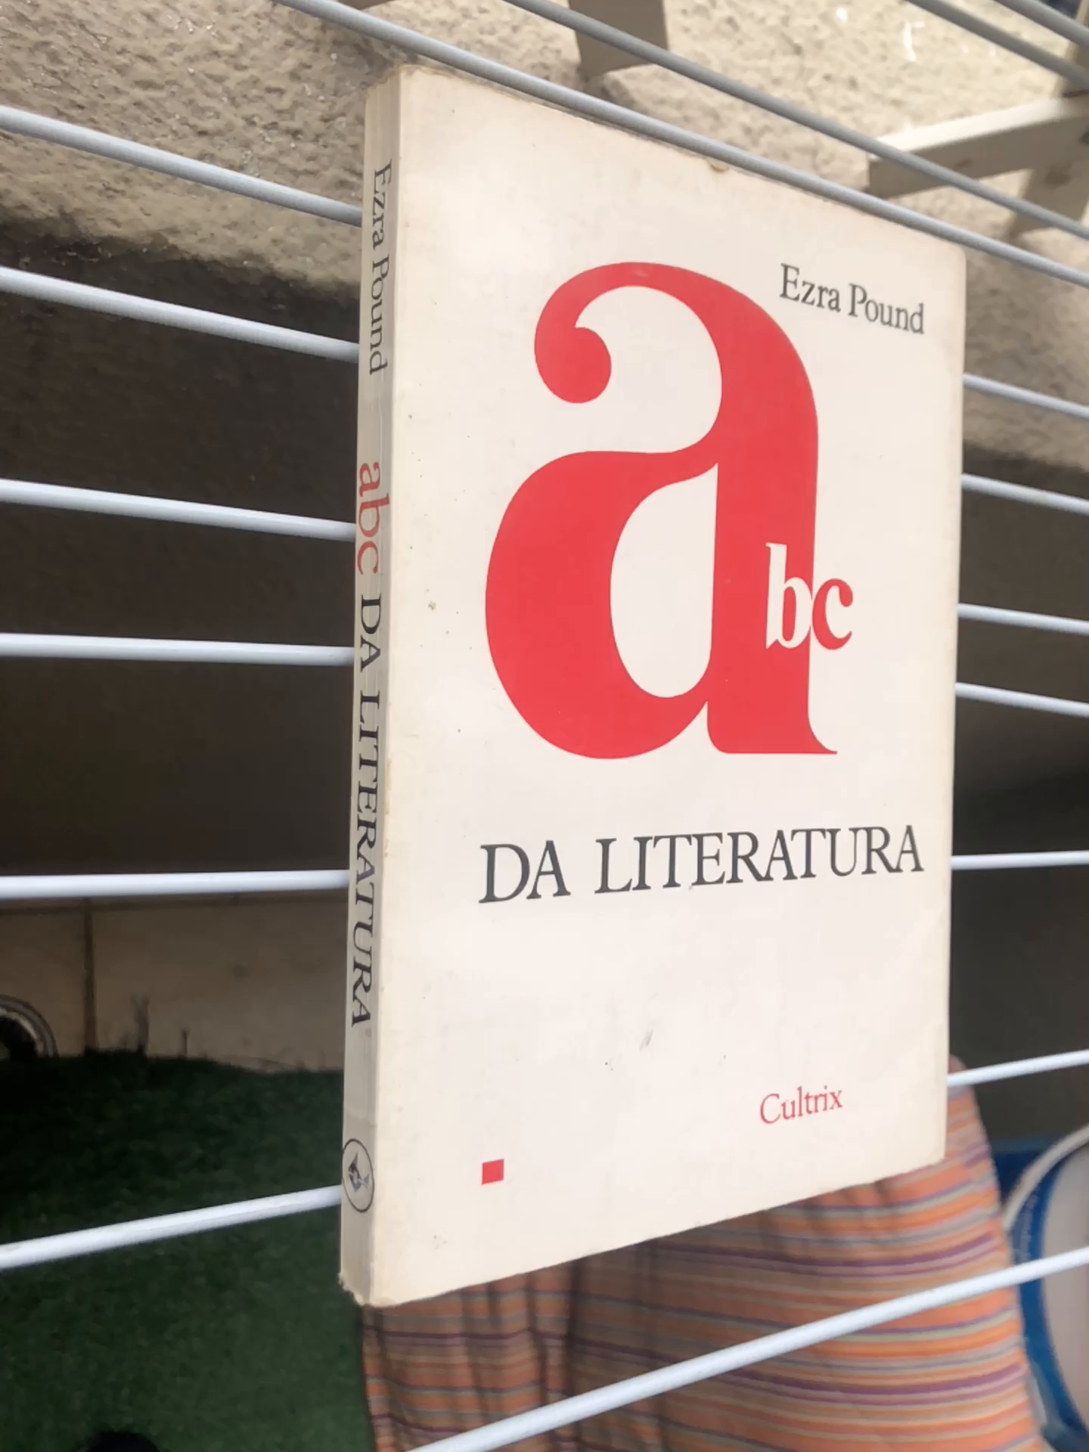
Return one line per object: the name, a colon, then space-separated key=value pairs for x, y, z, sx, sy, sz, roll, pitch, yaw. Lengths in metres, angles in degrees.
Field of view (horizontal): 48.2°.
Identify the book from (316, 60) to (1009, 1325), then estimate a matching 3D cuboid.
book: x=0.030 y=-0.003 z=0.225 sx=0.141 sy=0.017 sz=0.187 roll=1 pitch=92 yaw=-32
